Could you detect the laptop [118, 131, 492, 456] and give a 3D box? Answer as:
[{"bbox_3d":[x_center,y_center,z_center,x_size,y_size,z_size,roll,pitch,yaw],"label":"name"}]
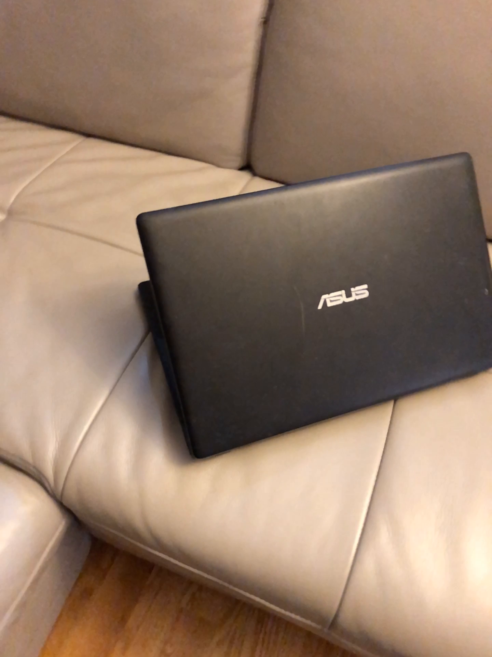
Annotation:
[{"bbox_3d":[0.084,-0.053,0.585,0.370,0.155,0.242,-14,54,-14],"label":"laptop"}]
